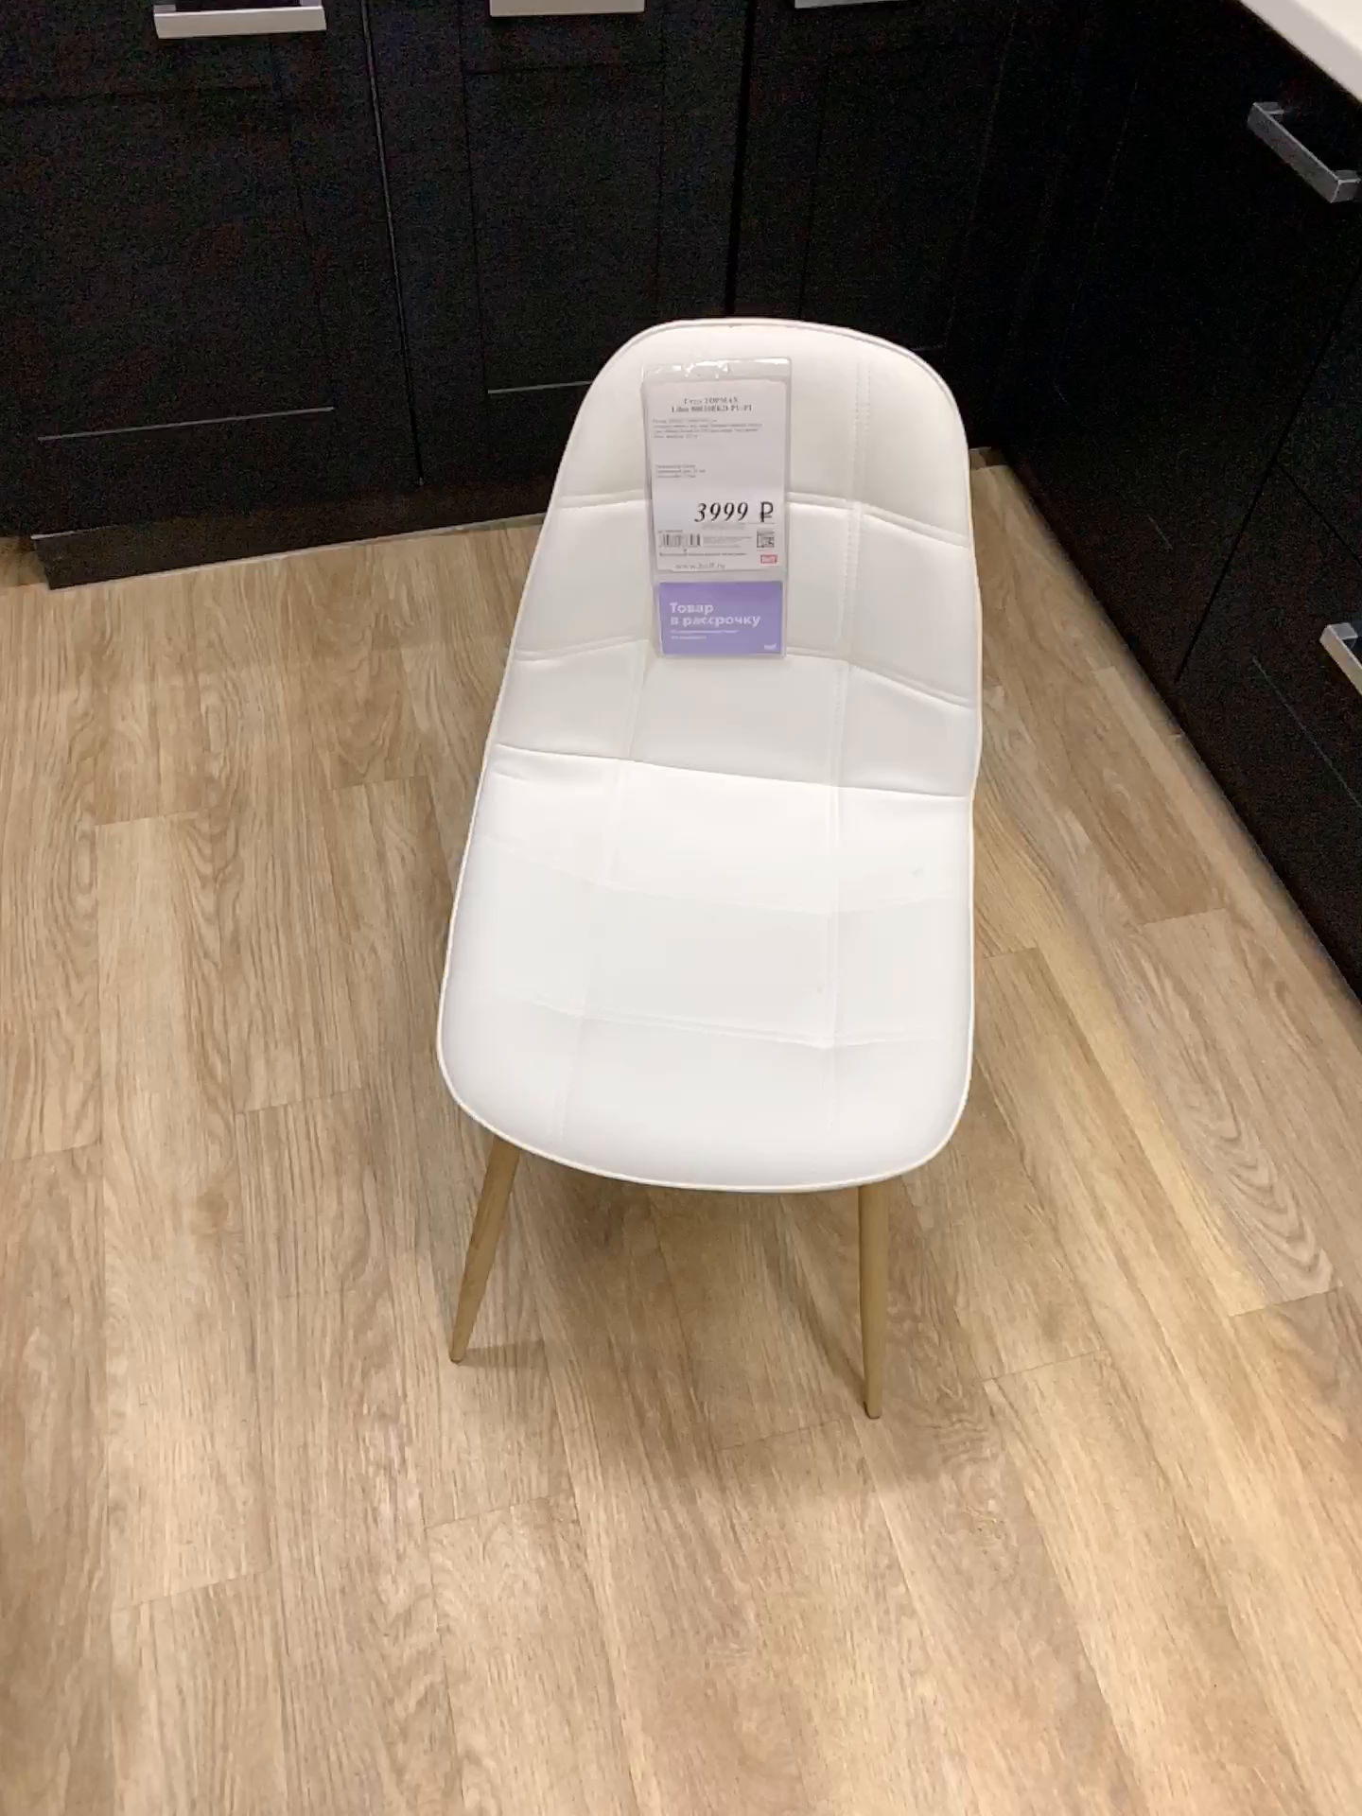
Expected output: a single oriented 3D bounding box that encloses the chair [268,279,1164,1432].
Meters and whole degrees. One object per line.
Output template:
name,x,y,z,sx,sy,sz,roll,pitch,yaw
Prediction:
chair,0.029,0.015,1.229,0.470,0.826,0.573,7,53,2
